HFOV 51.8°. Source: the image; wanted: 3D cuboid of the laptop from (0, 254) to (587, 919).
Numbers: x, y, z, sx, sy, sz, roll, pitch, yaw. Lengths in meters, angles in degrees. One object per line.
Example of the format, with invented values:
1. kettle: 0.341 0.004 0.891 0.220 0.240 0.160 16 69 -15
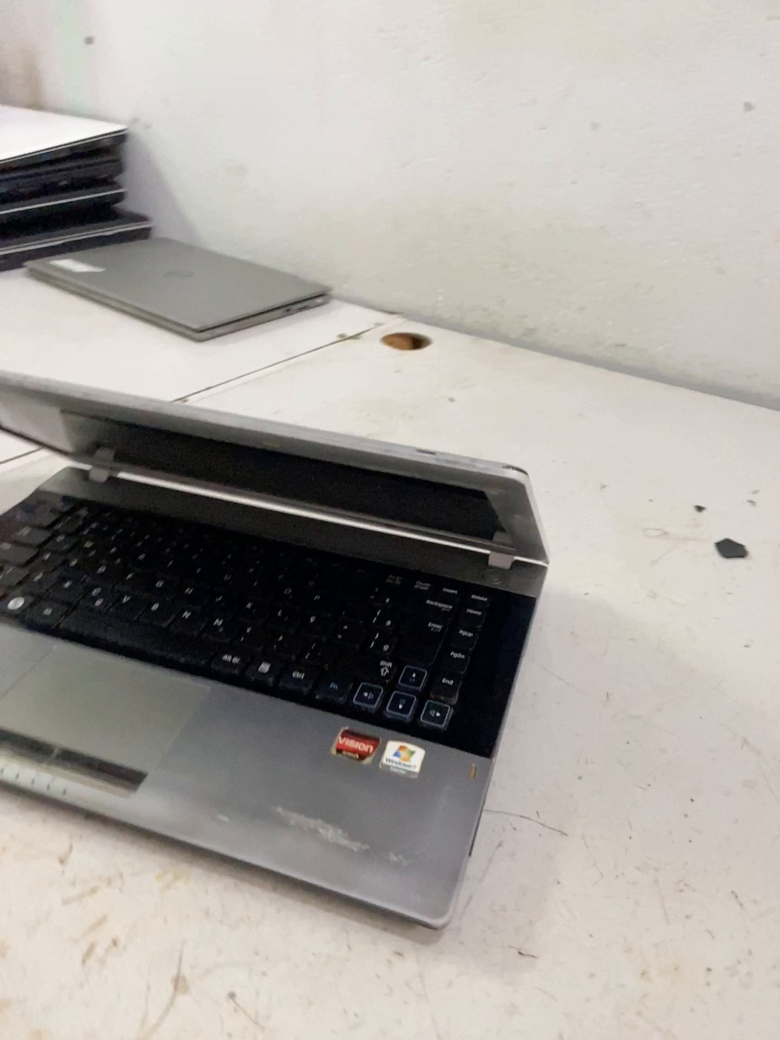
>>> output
1. laptop: -0.102 -0.008 0.398 0.344 0.150 0.234 11 34 15
